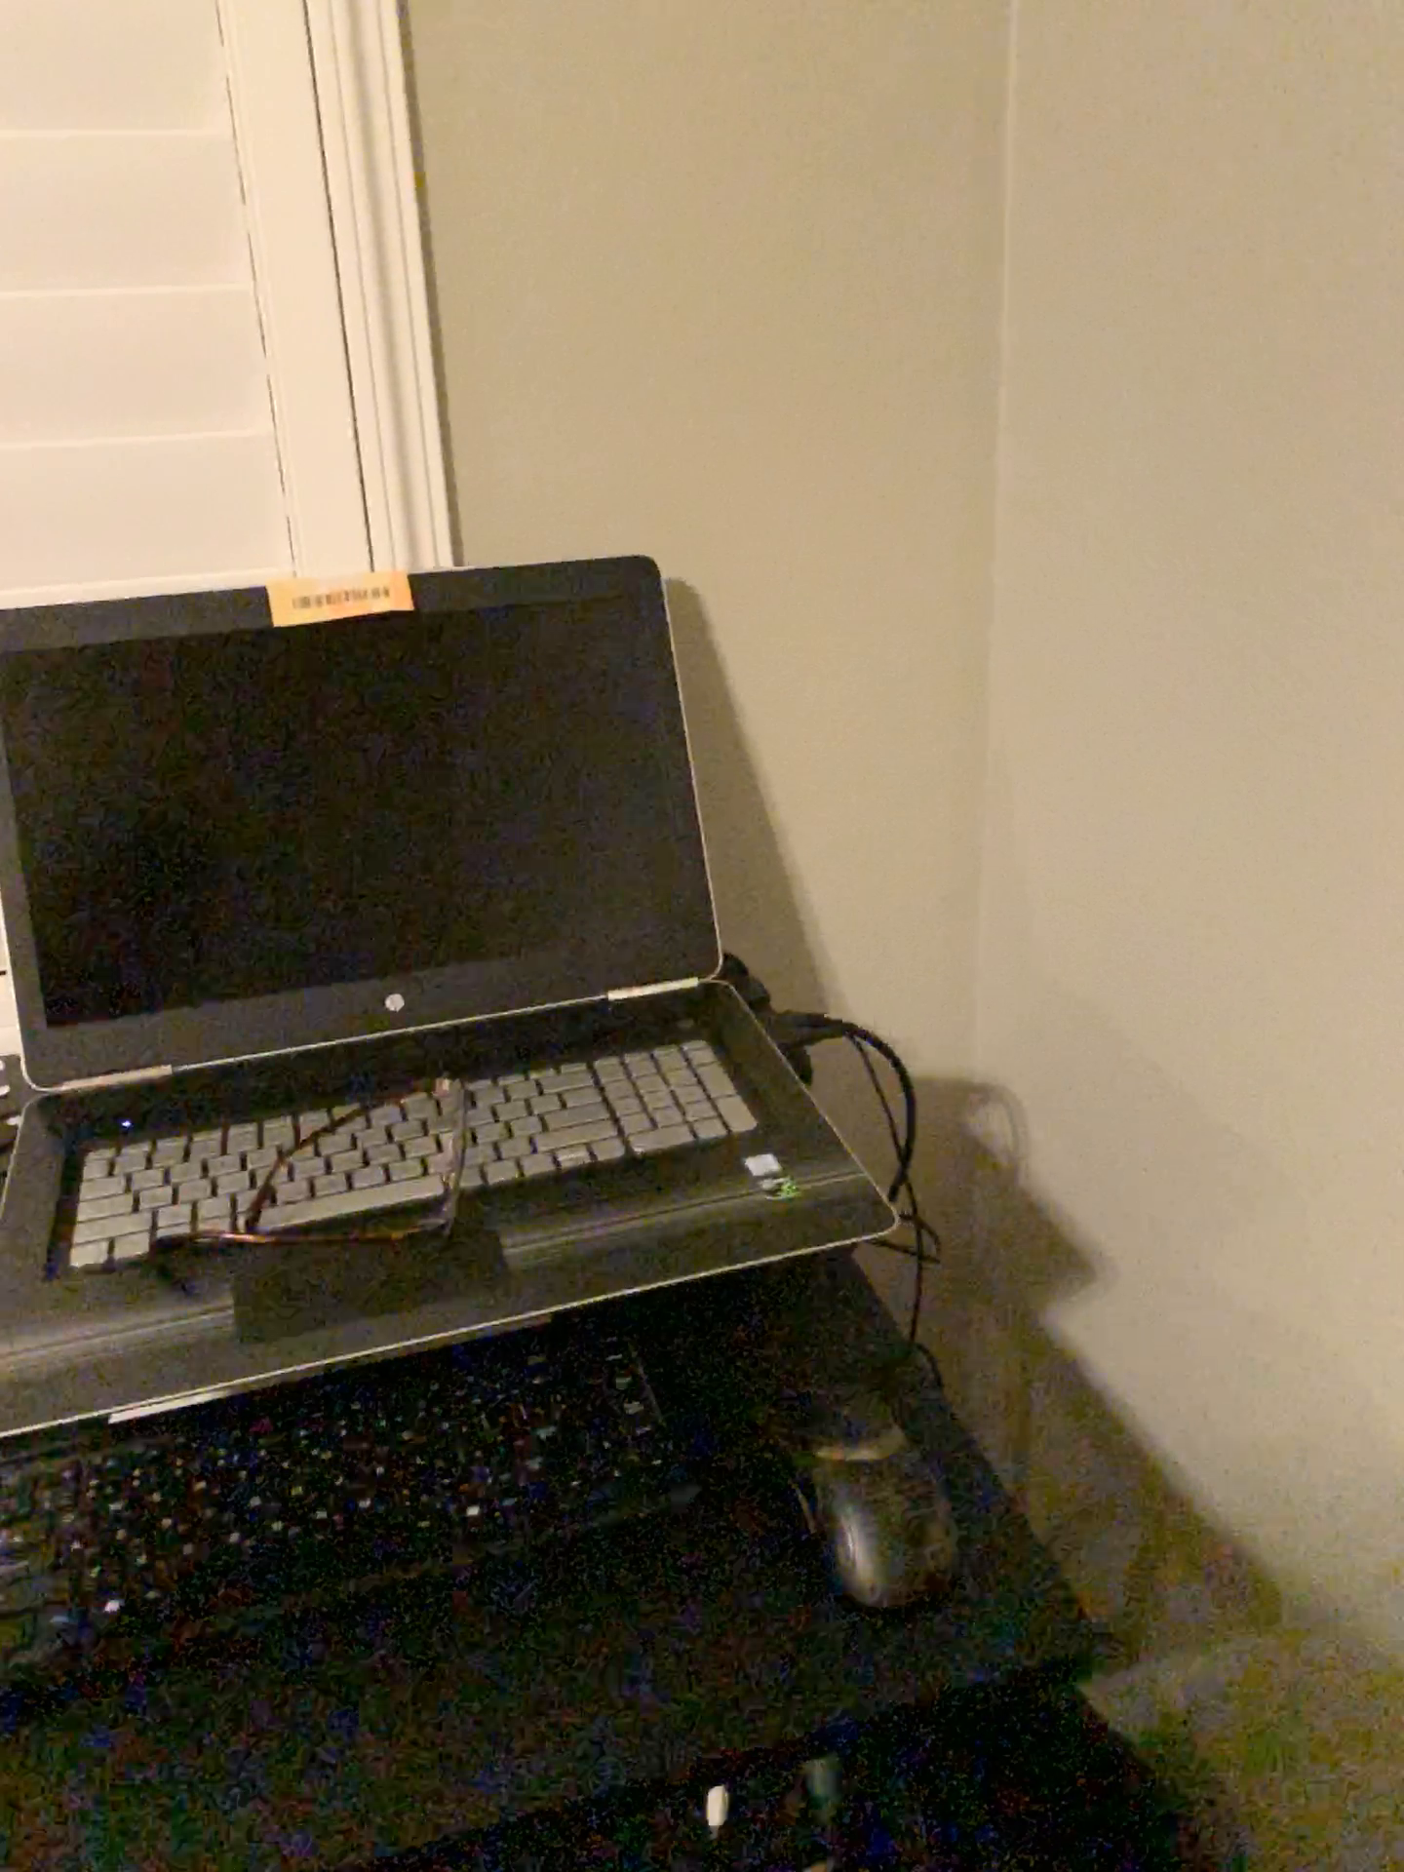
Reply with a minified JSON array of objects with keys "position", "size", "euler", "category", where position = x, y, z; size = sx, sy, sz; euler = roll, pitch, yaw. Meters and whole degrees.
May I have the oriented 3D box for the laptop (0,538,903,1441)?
[{"position":[-0.175,-0.031,0.797],"size":[0.433,0.263,0.421],"euler":[-9,25,-15],"category":"laptop"}]
